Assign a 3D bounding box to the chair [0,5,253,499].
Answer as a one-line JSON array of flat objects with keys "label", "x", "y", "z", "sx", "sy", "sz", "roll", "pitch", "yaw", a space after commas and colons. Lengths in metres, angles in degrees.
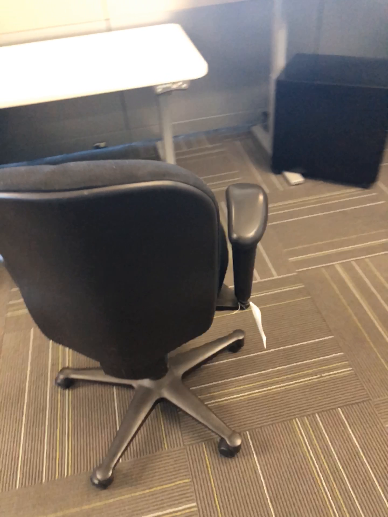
[{"label": "chair", "x": -0.214, "y": 0.025, "z": 1.088, "sx": 0.700, "sy": 0.995, "sz": 0.683, "roll": 0, "pitch": 42, "yaw": 7}]
